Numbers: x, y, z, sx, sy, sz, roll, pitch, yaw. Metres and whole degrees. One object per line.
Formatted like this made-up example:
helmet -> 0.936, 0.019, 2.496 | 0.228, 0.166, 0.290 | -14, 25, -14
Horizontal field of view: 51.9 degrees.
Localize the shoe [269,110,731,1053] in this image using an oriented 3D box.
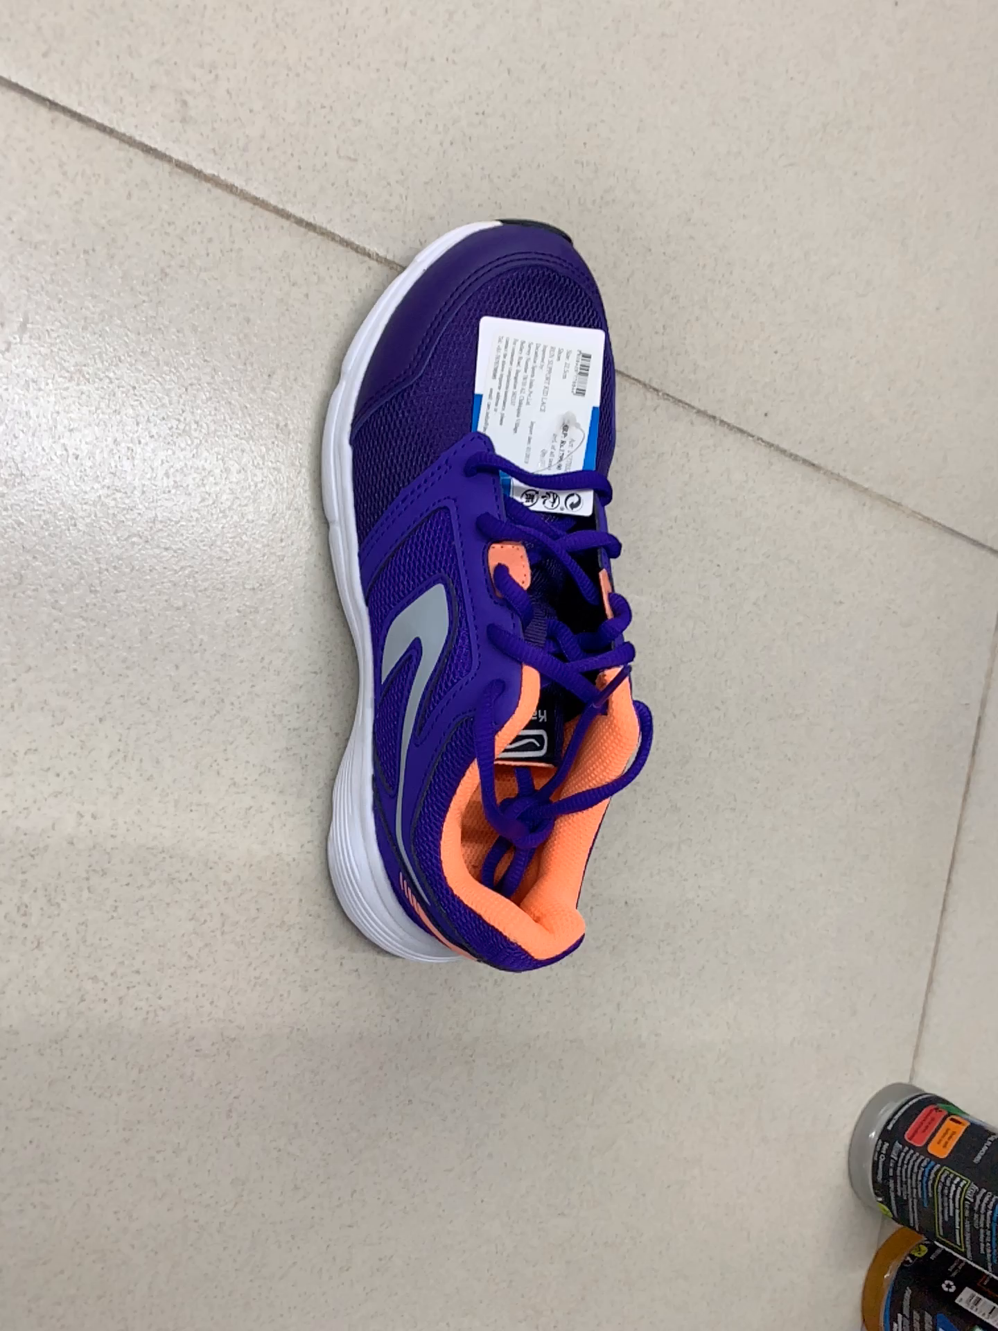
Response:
shoe -> -0.004, -0.021, 0.341 | 0.100, 0.100, 0.250 | 2, 93, -32
